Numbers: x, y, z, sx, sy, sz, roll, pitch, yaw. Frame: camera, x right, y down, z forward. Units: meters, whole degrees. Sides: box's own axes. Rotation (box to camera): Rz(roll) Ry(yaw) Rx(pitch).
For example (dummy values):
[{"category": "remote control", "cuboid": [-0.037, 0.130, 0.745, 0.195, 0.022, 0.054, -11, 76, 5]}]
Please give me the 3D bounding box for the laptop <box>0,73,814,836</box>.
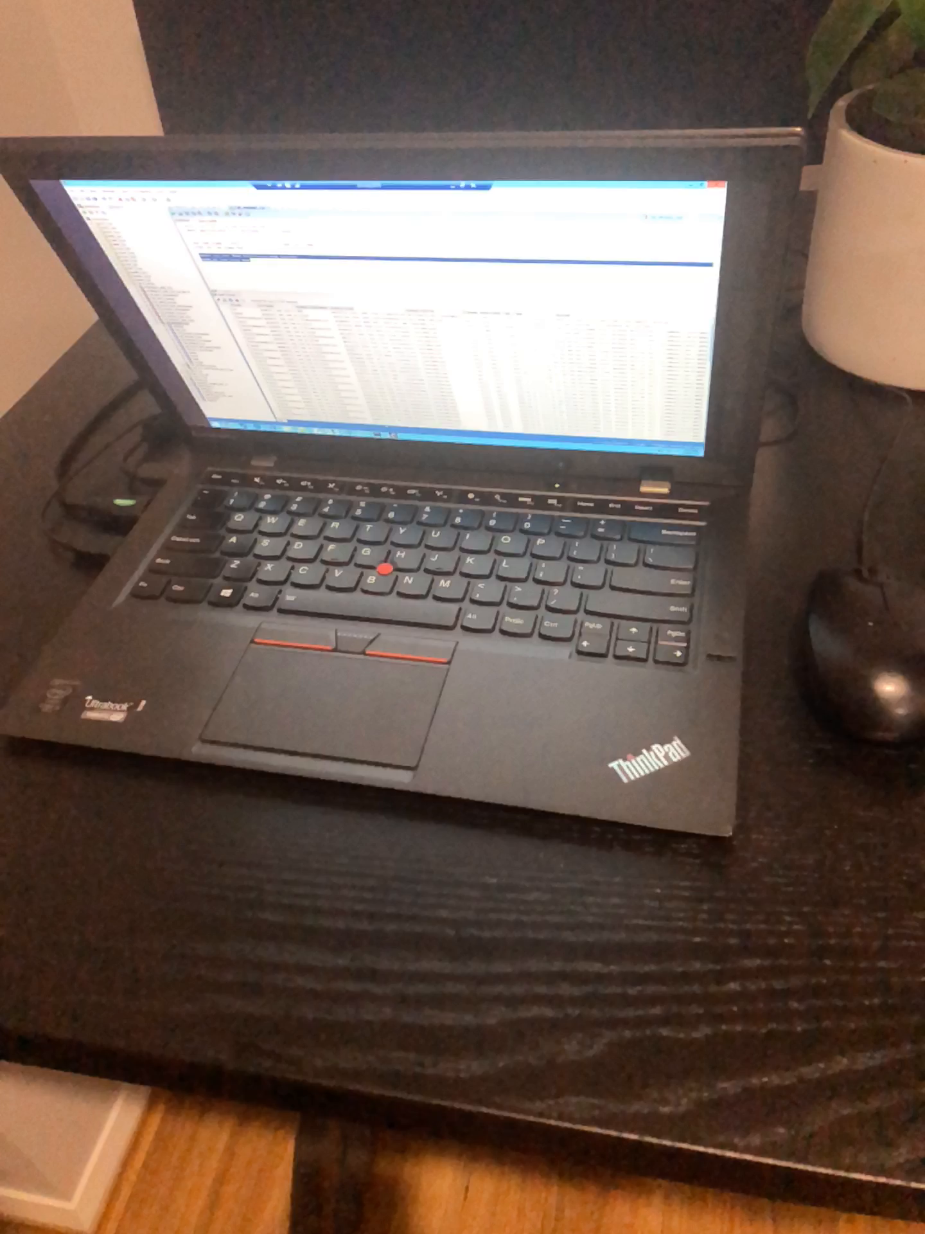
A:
[{"category": "laptop", "cuboid": [-0.041, -0.090, 0.455, 0.340, 0.214, 0.245, 5, 41, 13]}]
